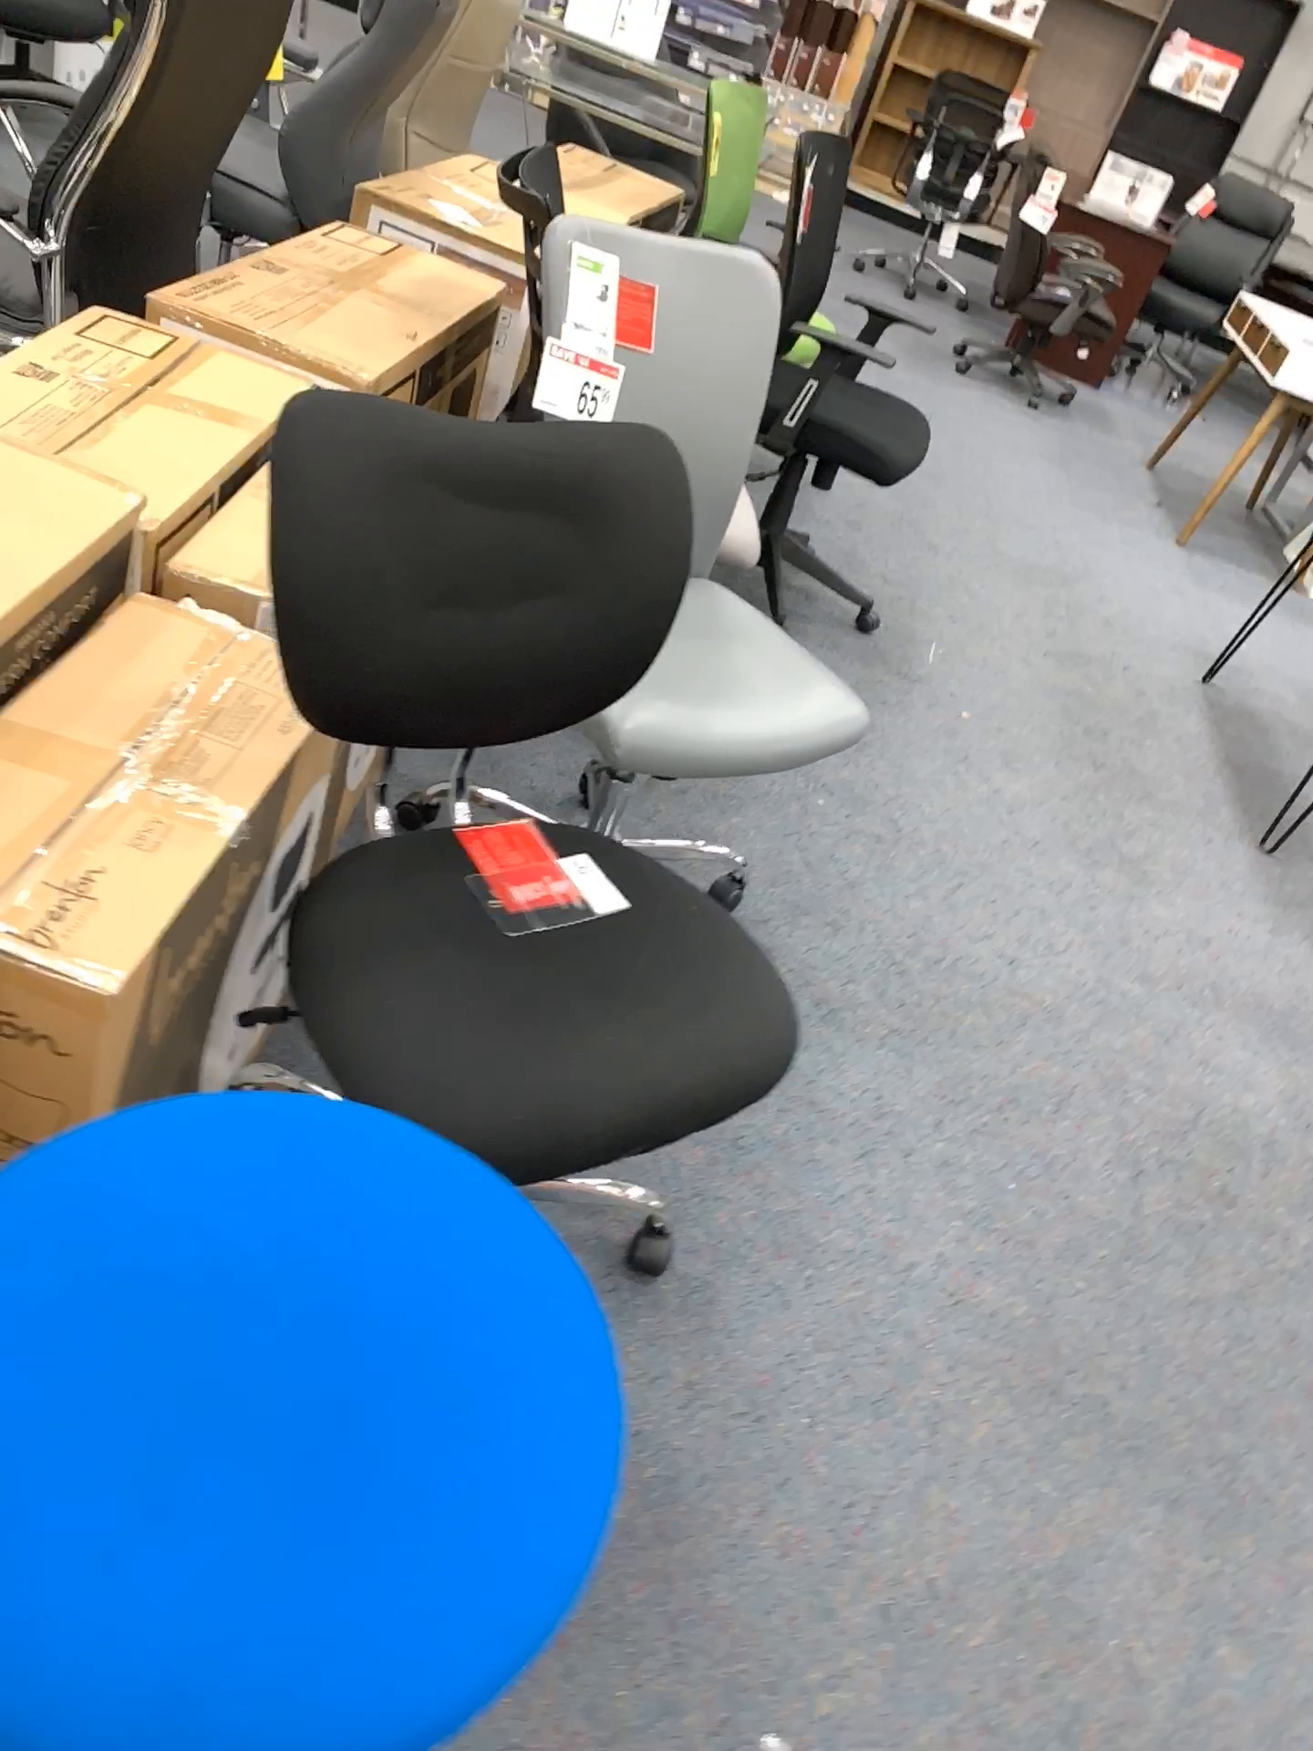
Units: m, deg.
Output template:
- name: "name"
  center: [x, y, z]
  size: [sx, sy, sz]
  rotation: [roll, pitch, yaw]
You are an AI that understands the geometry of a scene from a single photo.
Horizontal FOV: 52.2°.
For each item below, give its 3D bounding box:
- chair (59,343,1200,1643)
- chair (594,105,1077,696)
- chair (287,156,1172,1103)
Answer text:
- name: "chair"
  center: [-0.132, 0.086, 1.307]
  size: [0.649, 0.879, 0.659]
  rotation: [-8, 44, -36]
- name: "chair"
  center: [0.455, -1.185, 3.252]
  size: [0.707, 0.989, 0.982]
  rotation: [23, 34, 3]
- name: "chair"
  center: [0.035, -0.350, 1.942]
  size: [0.739, 0.959, 0.709]
  rotation: [-13, 47, -40]
